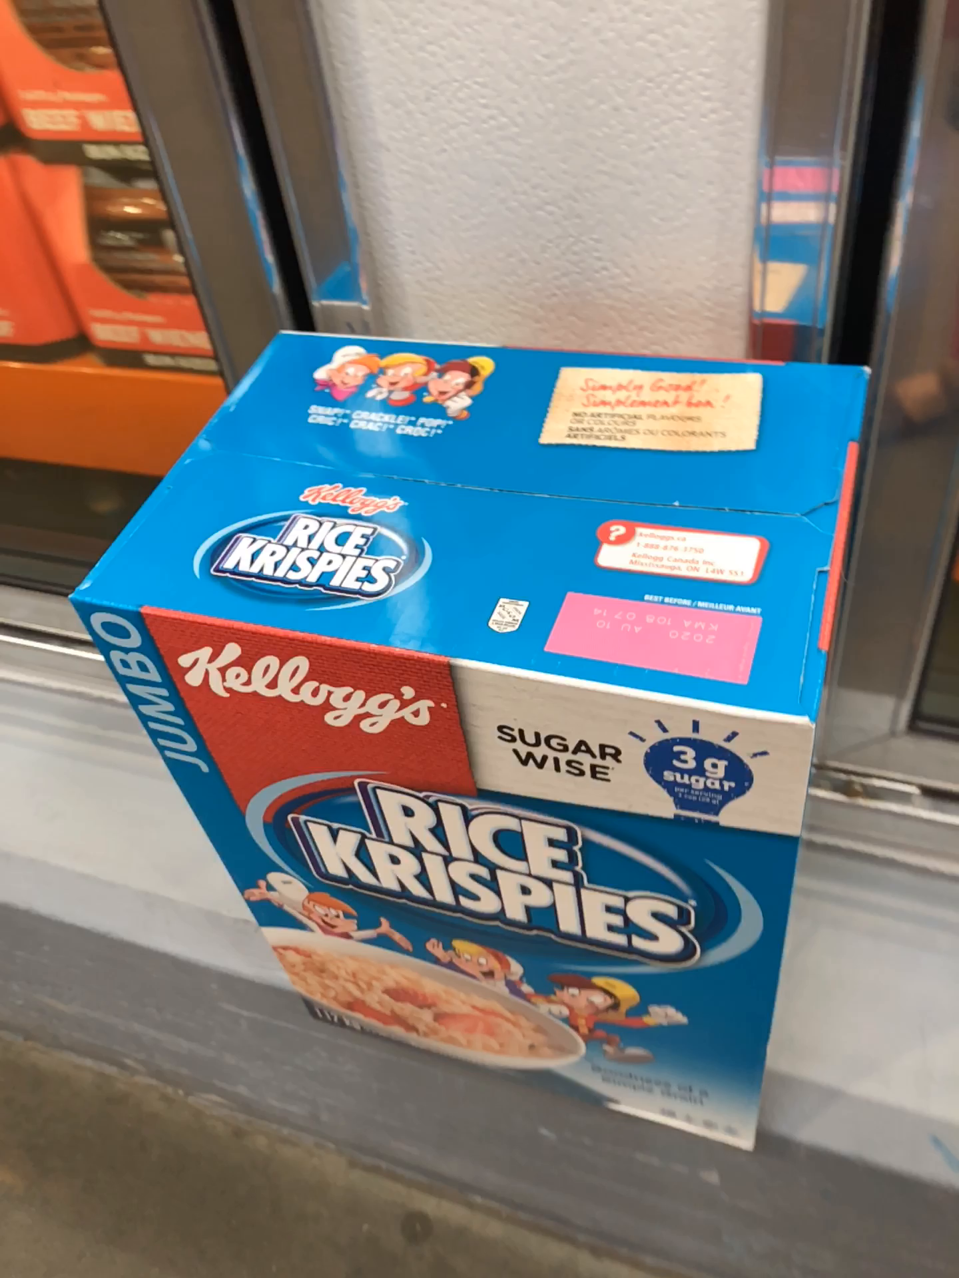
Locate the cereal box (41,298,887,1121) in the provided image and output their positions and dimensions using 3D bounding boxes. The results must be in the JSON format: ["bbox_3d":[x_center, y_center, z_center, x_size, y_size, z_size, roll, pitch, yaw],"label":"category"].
[{"bbox_3d":[0.022,0.043,0.466,0.240,0.319,0.161,9,51,18],"label":"cereal box"}]
